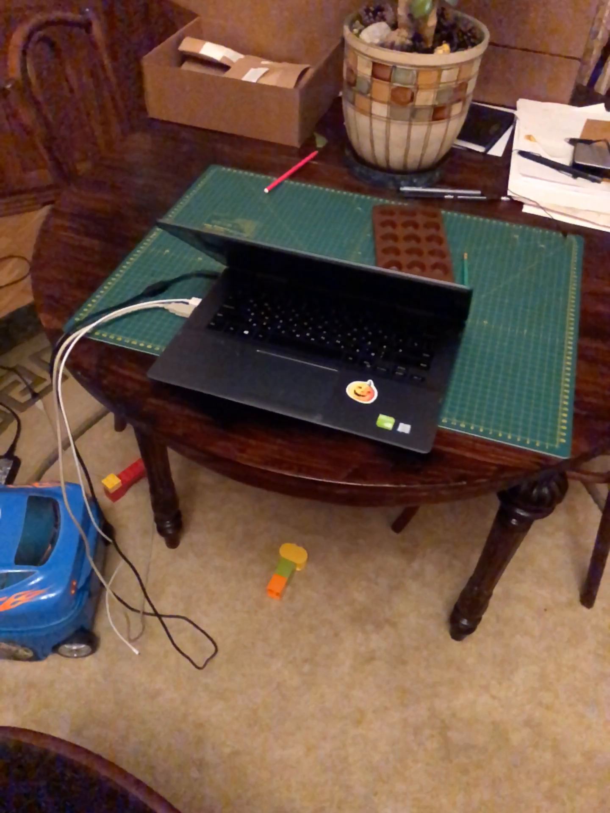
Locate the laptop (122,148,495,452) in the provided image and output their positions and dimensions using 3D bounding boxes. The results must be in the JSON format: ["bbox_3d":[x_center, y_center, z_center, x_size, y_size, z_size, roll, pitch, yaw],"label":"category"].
[{"bbox_3d":[0.013,-0.126,0.729,0.317,0.162,0.225,15,48,12],"label":"laptop"}]
